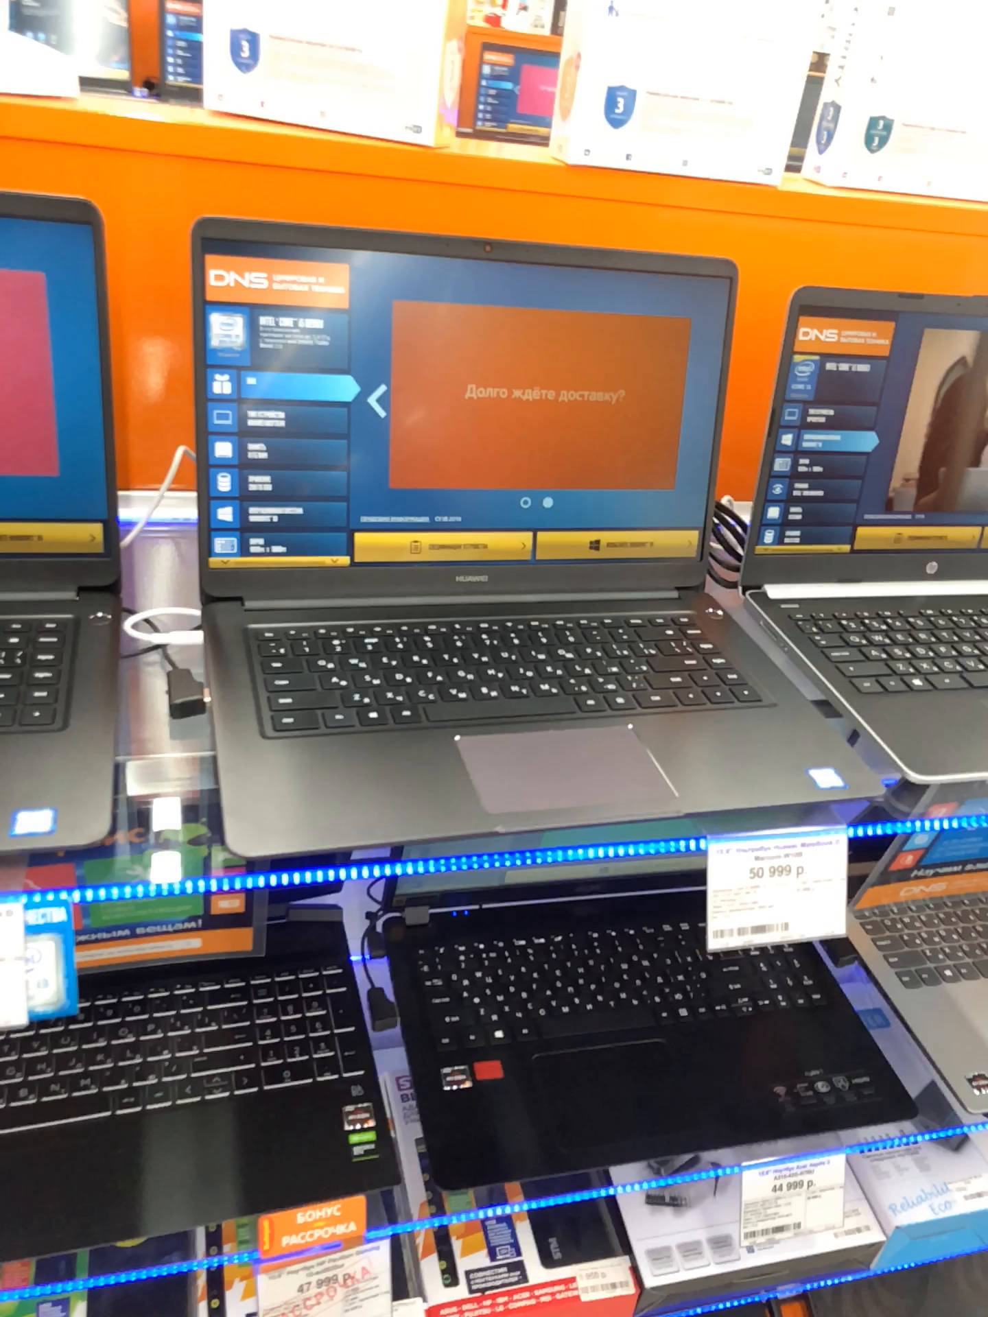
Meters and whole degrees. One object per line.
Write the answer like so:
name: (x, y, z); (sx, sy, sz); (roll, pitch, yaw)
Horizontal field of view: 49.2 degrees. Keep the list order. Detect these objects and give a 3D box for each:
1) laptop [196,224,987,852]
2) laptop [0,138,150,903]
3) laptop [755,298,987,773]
laptop: (0.021, -0.085, 0.598); (0.338, 0.212, 0.288); (-2, 33, -18)
laptop: (-0.360, -0.071, 0.473); (0.355, 0.230, 0.242); (-3, 31, -18)
laptop: (0.363, -0.095, 0.690); (0.269, 0.195, 0.244); (-3, 33, -12)
